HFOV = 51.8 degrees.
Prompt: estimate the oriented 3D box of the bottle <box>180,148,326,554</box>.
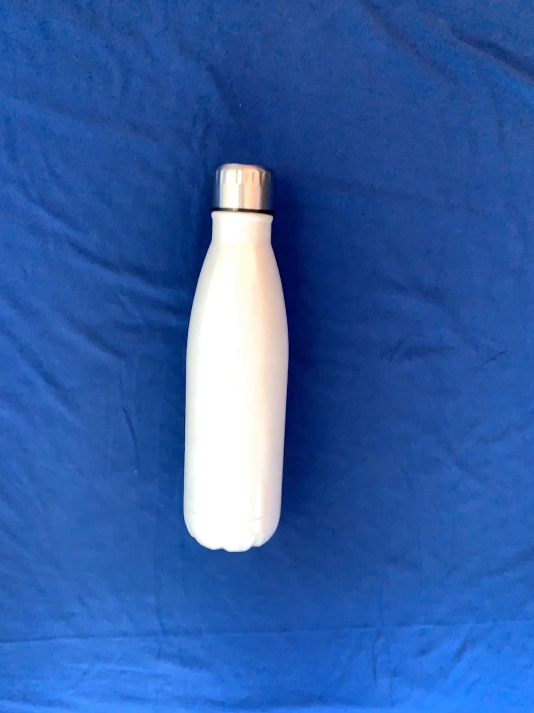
[{"bbox_3d":[-0.014,0.003,0.373,0.080,0.050,0.260,2,102,-4],"label":"bottle"}]
